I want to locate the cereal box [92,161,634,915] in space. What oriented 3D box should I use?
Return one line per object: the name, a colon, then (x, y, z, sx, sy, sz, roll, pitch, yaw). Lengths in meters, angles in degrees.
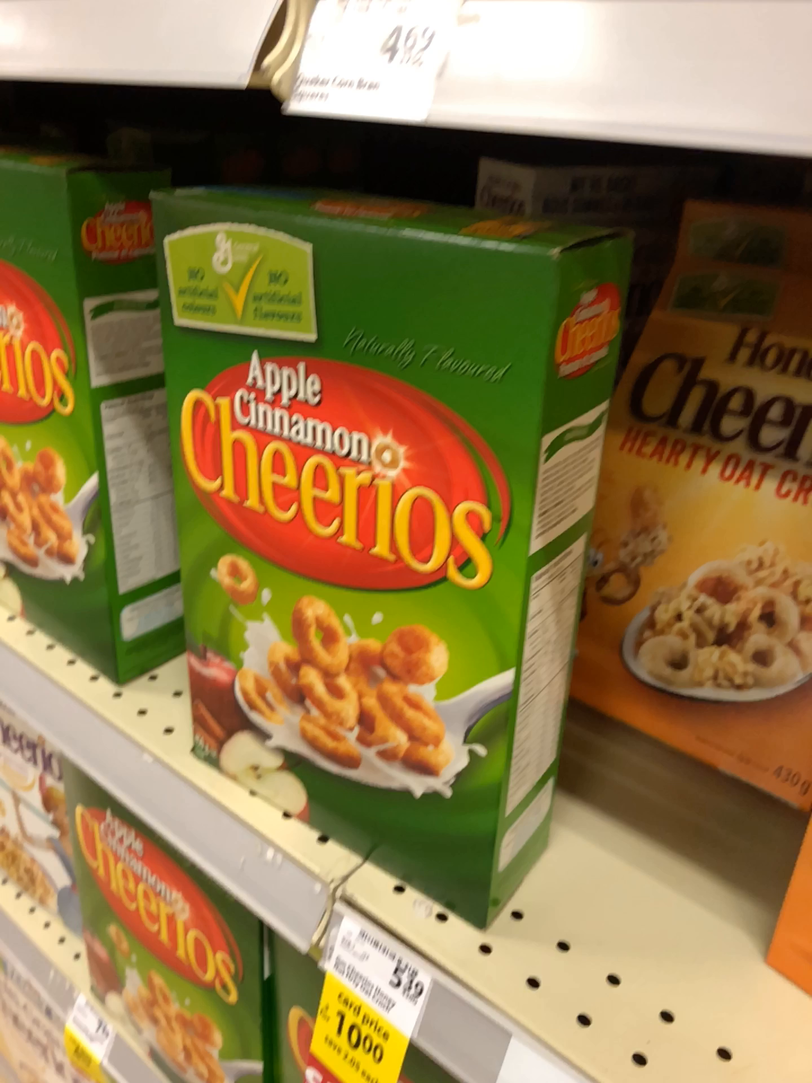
cereal box: (-0.031, -0.008, 0.409, 0.211, 0.288, 0.070, 20, 31, 30)
